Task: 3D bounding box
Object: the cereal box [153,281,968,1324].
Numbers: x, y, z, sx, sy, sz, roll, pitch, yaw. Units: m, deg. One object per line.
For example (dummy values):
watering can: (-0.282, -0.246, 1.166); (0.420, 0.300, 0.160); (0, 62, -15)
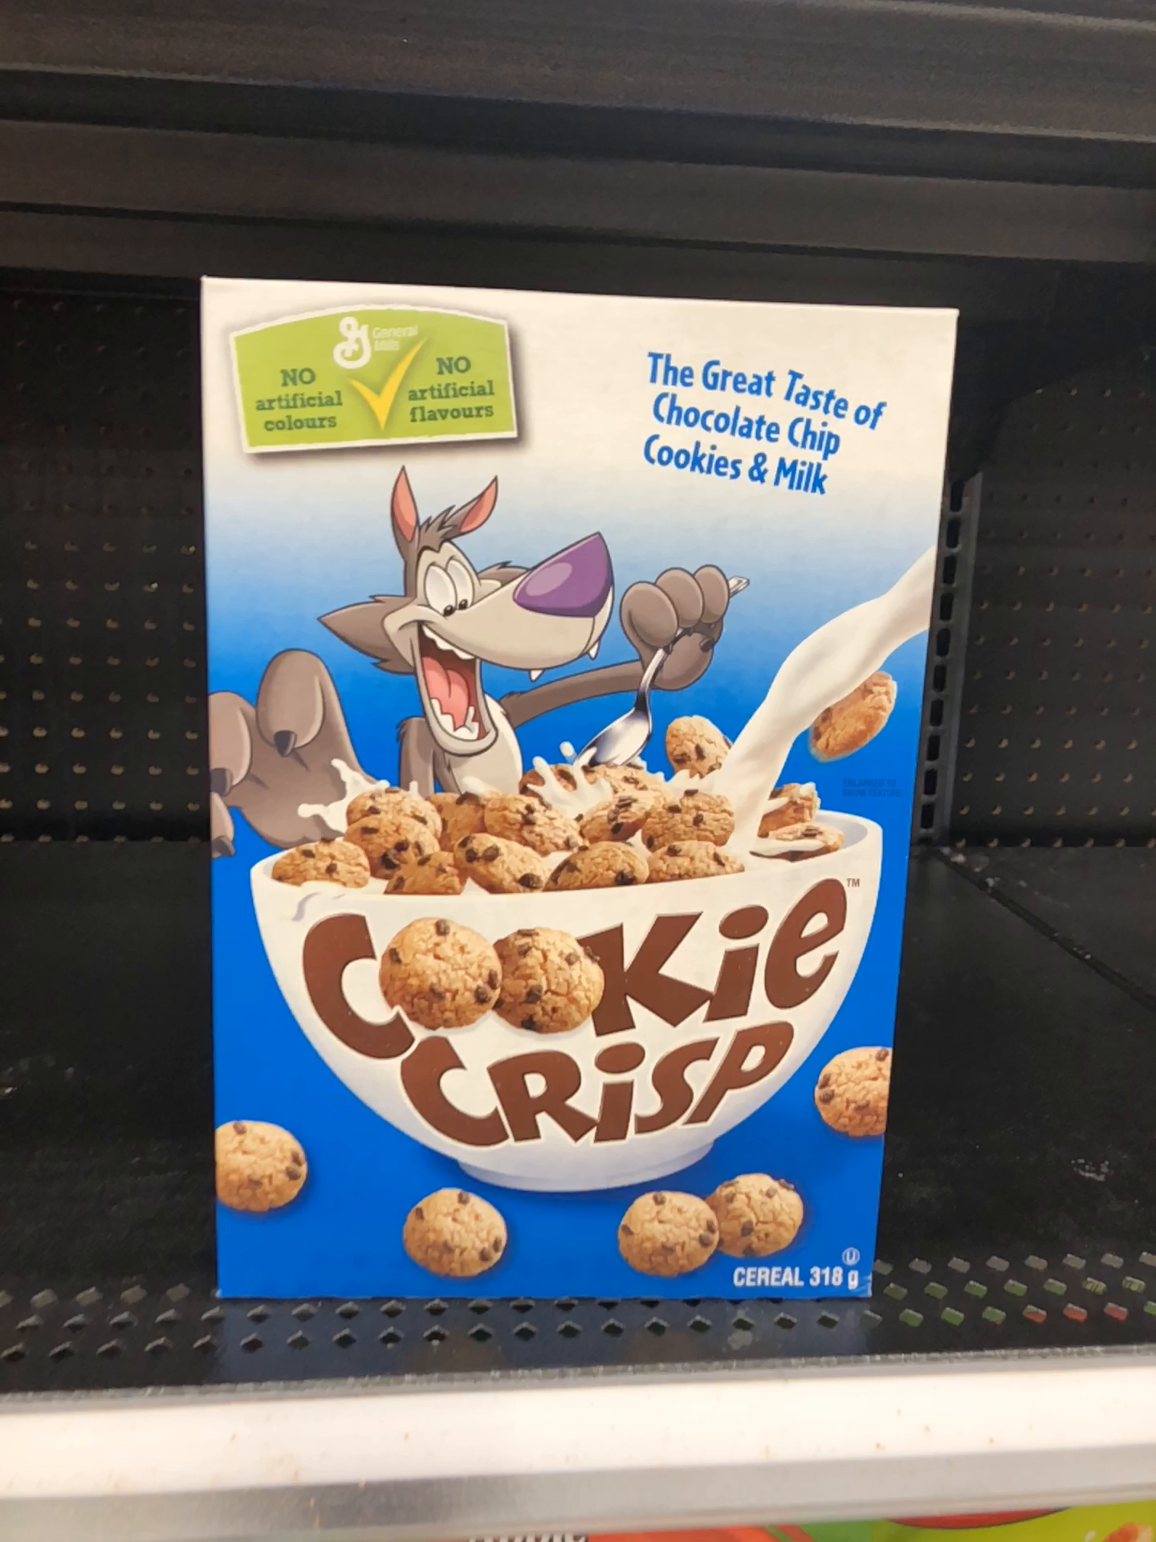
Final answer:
cereal box: (-0.008, 0.014, 0.368); (0.200, 0.279, 0.060); (1, 11, -3)
